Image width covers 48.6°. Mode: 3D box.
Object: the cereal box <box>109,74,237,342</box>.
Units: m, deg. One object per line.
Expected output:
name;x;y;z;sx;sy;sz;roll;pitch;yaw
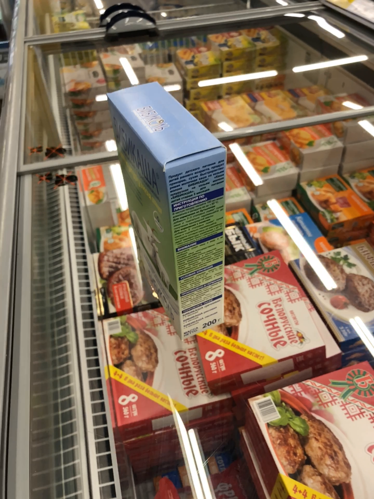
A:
cereal box;-0.012;-0.034;0.386;0.050;0.199;0.141;-18;45;-15
